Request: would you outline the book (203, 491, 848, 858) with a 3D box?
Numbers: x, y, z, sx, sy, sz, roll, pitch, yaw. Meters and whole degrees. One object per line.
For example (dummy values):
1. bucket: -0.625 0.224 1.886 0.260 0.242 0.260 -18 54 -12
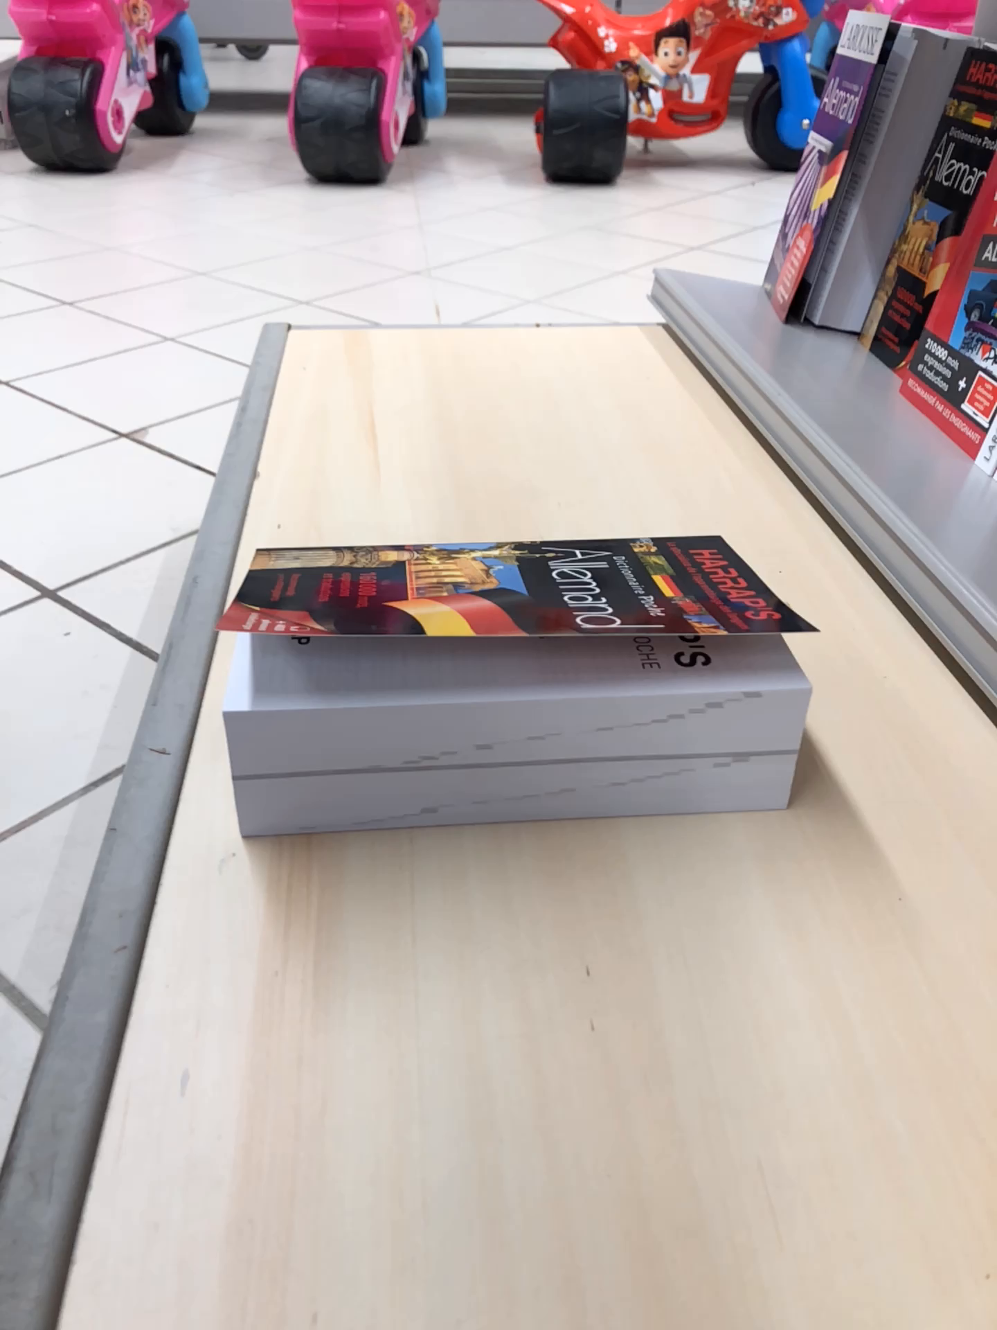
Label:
1. book: 0.003 -0.004 0.371 0.180 0.060 0.123 -2 33 -6
